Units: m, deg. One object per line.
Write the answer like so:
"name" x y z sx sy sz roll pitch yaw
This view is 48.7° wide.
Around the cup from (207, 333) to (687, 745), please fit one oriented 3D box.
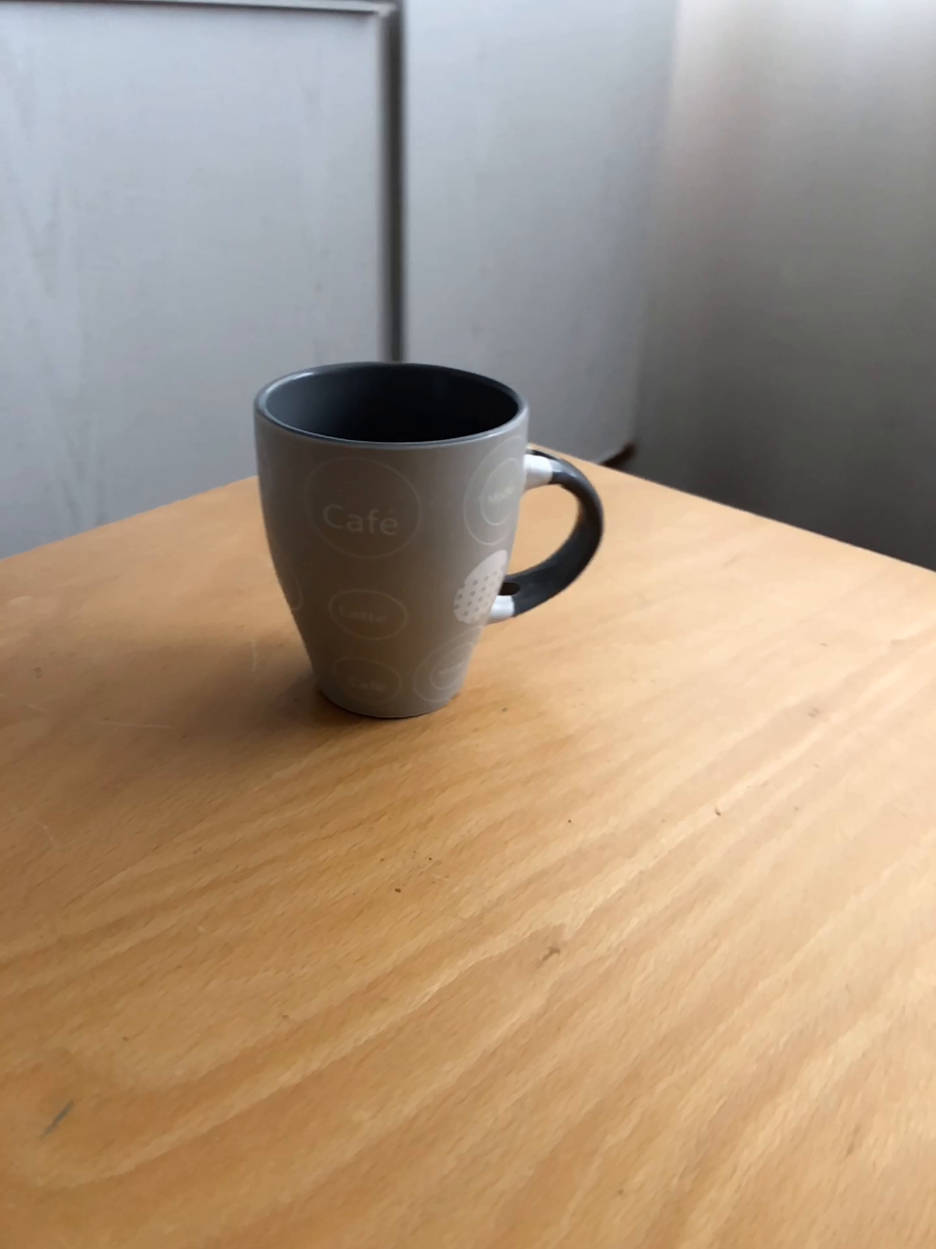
"cup" -0.010 -0.036 0.347 0.127 0.093 0.085 -13 32 -25
